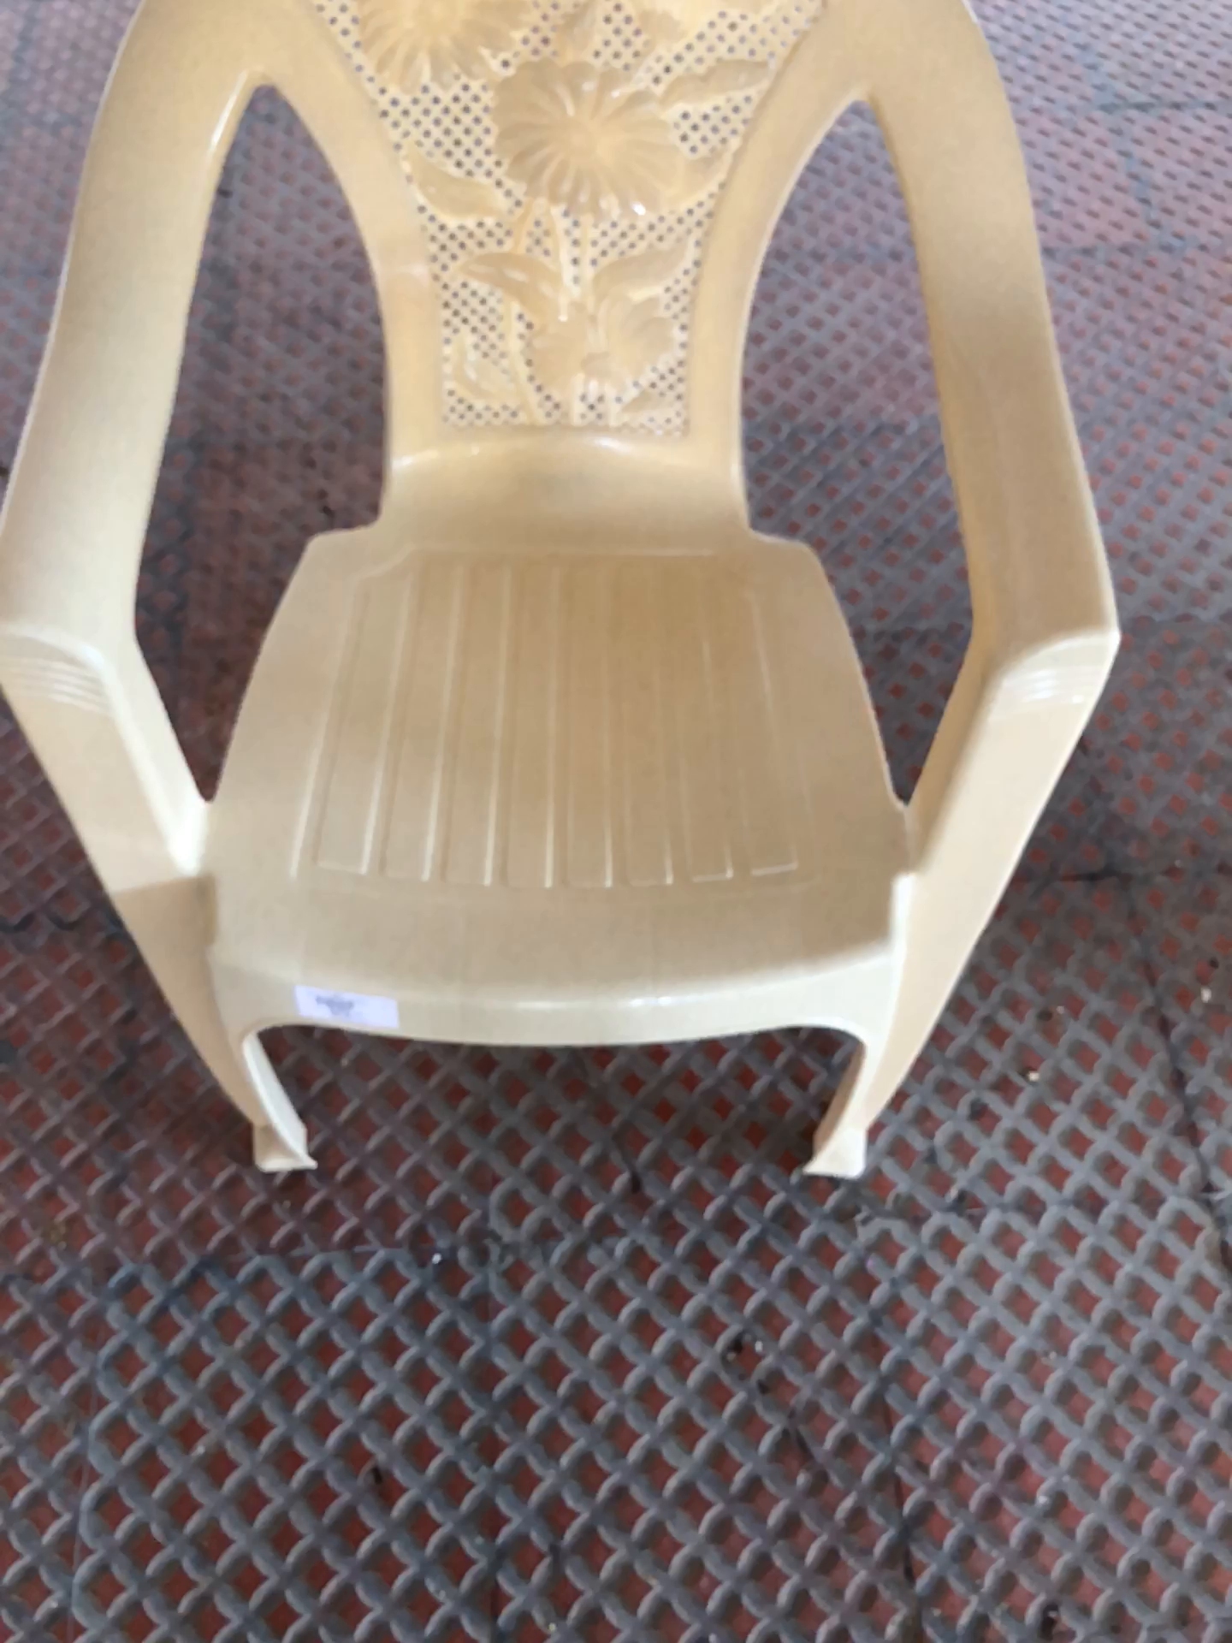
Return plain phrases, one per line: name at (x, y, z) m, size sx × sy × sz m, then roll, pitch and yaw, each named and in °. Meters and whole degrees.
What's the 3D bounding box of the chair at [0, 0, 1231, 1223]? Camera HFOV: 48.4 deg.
chair at (-0.050, -0.143, 0.931) m, size 0.530 × 0.806 × 0.613 m, roll 0°, pitch 59°, yaw -2°
